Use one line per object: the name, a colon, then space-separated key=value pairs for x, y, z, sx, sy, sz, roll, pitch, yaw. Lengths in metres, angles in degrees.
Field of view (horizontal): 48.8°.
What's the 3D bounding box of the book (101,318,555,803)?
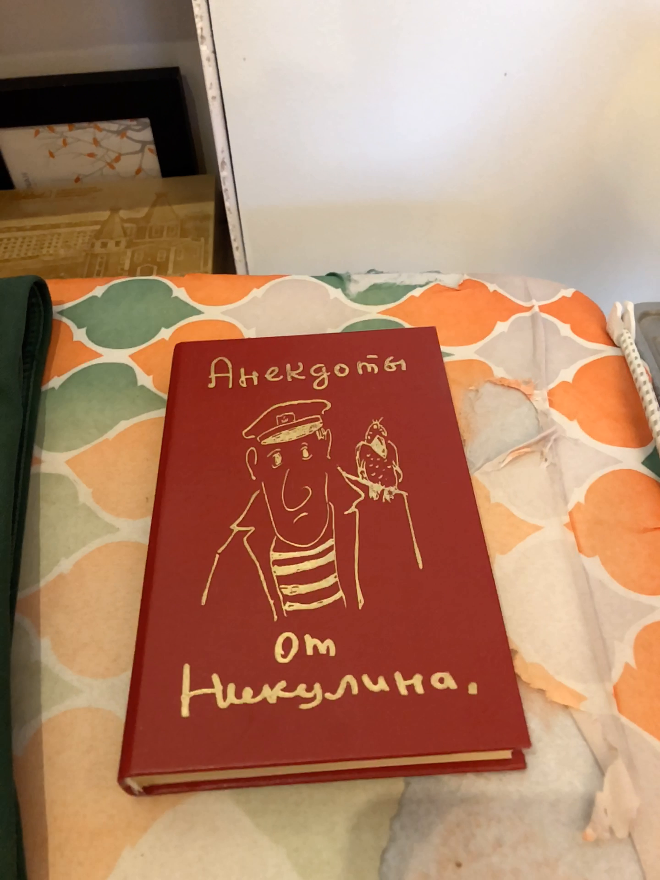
book: x=-0.006 y=0.031 z=0.305 sx=0.140 sy=0.030 sz=0.208 roll=-4 pitch=48 yaw=-1
